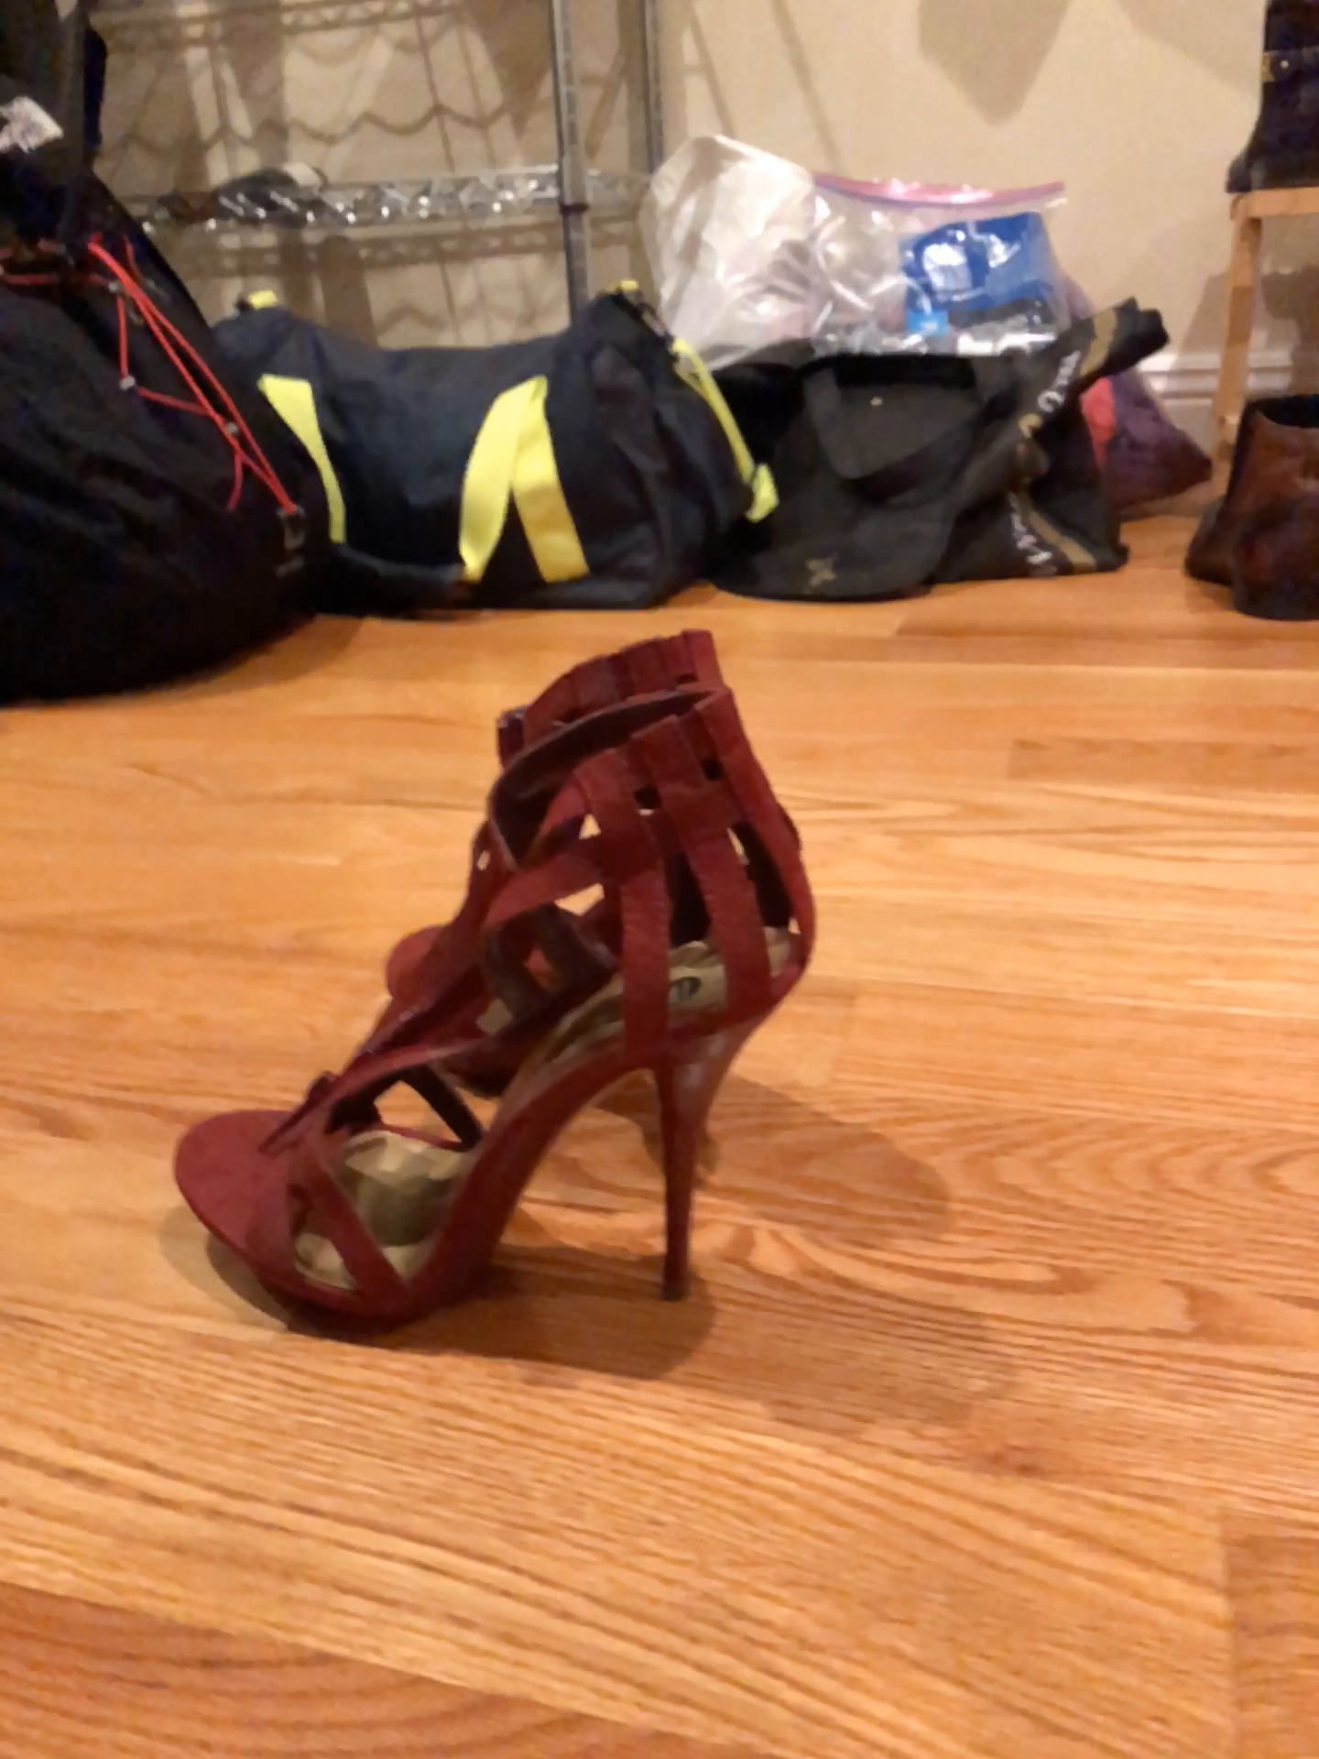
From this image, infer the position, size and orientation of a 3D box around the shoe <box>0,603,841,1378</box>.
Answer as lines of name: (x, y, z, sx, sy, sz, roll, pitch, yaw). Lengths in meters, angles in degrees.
shoe: (-0.060, 0.022, 0.400, 0.206, 0.175, 0.085, 4, 23, 15)

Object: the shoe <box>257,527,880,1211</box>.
shoe: (-0.032, -0.017, 0.500, 0.199, 0.175, 0.085, 17, 30, 40)
